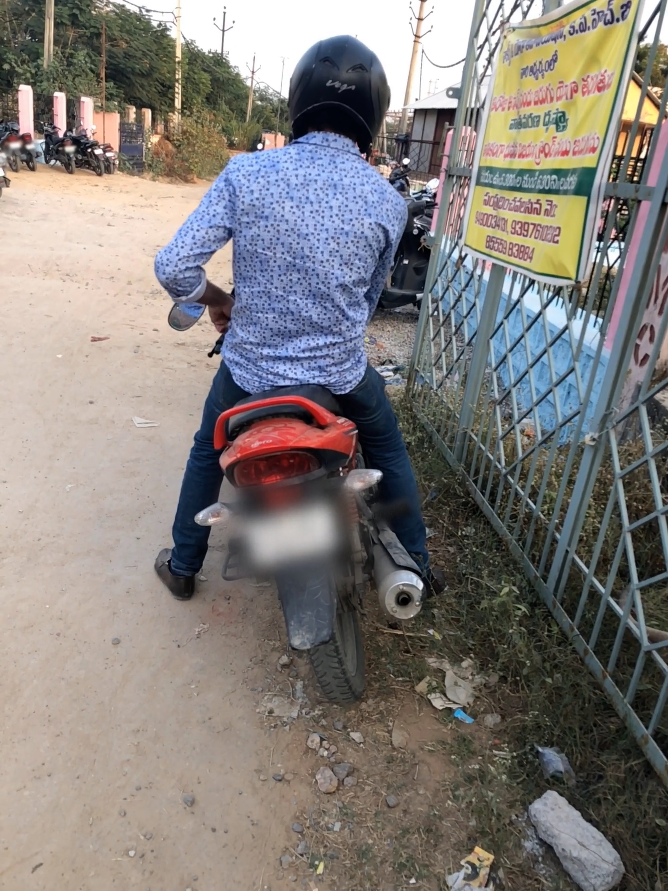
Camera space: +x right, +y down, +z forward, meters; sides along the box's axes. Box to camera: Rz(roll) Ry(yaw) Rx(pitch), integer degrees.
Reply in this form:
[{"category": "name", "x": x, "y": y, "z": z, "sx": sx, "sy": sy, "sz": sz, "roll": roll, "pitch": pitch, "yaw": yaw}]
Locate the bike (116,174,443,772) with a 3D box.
[{"category": "bike", "x": -0.305, "y": -0.118, "z": 2.300, "sx": 0.582, "sy": 1.176, "sz": 1.697, "roll": 3, "pitch": 24, "yaw": -12}]
